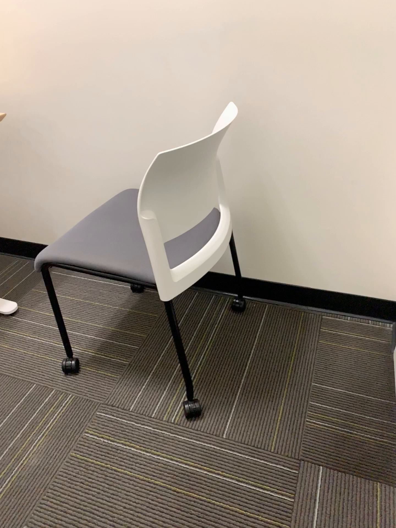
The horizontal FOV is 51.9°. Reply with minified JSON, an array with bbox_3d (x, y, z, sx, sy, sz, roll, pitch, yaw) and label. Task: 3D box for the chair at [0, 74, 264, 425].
[{"bbox_3d":[-0.152,-0.087,1.247,0.541,0.805,0.603,10,36,19],"label":"chair"}]
